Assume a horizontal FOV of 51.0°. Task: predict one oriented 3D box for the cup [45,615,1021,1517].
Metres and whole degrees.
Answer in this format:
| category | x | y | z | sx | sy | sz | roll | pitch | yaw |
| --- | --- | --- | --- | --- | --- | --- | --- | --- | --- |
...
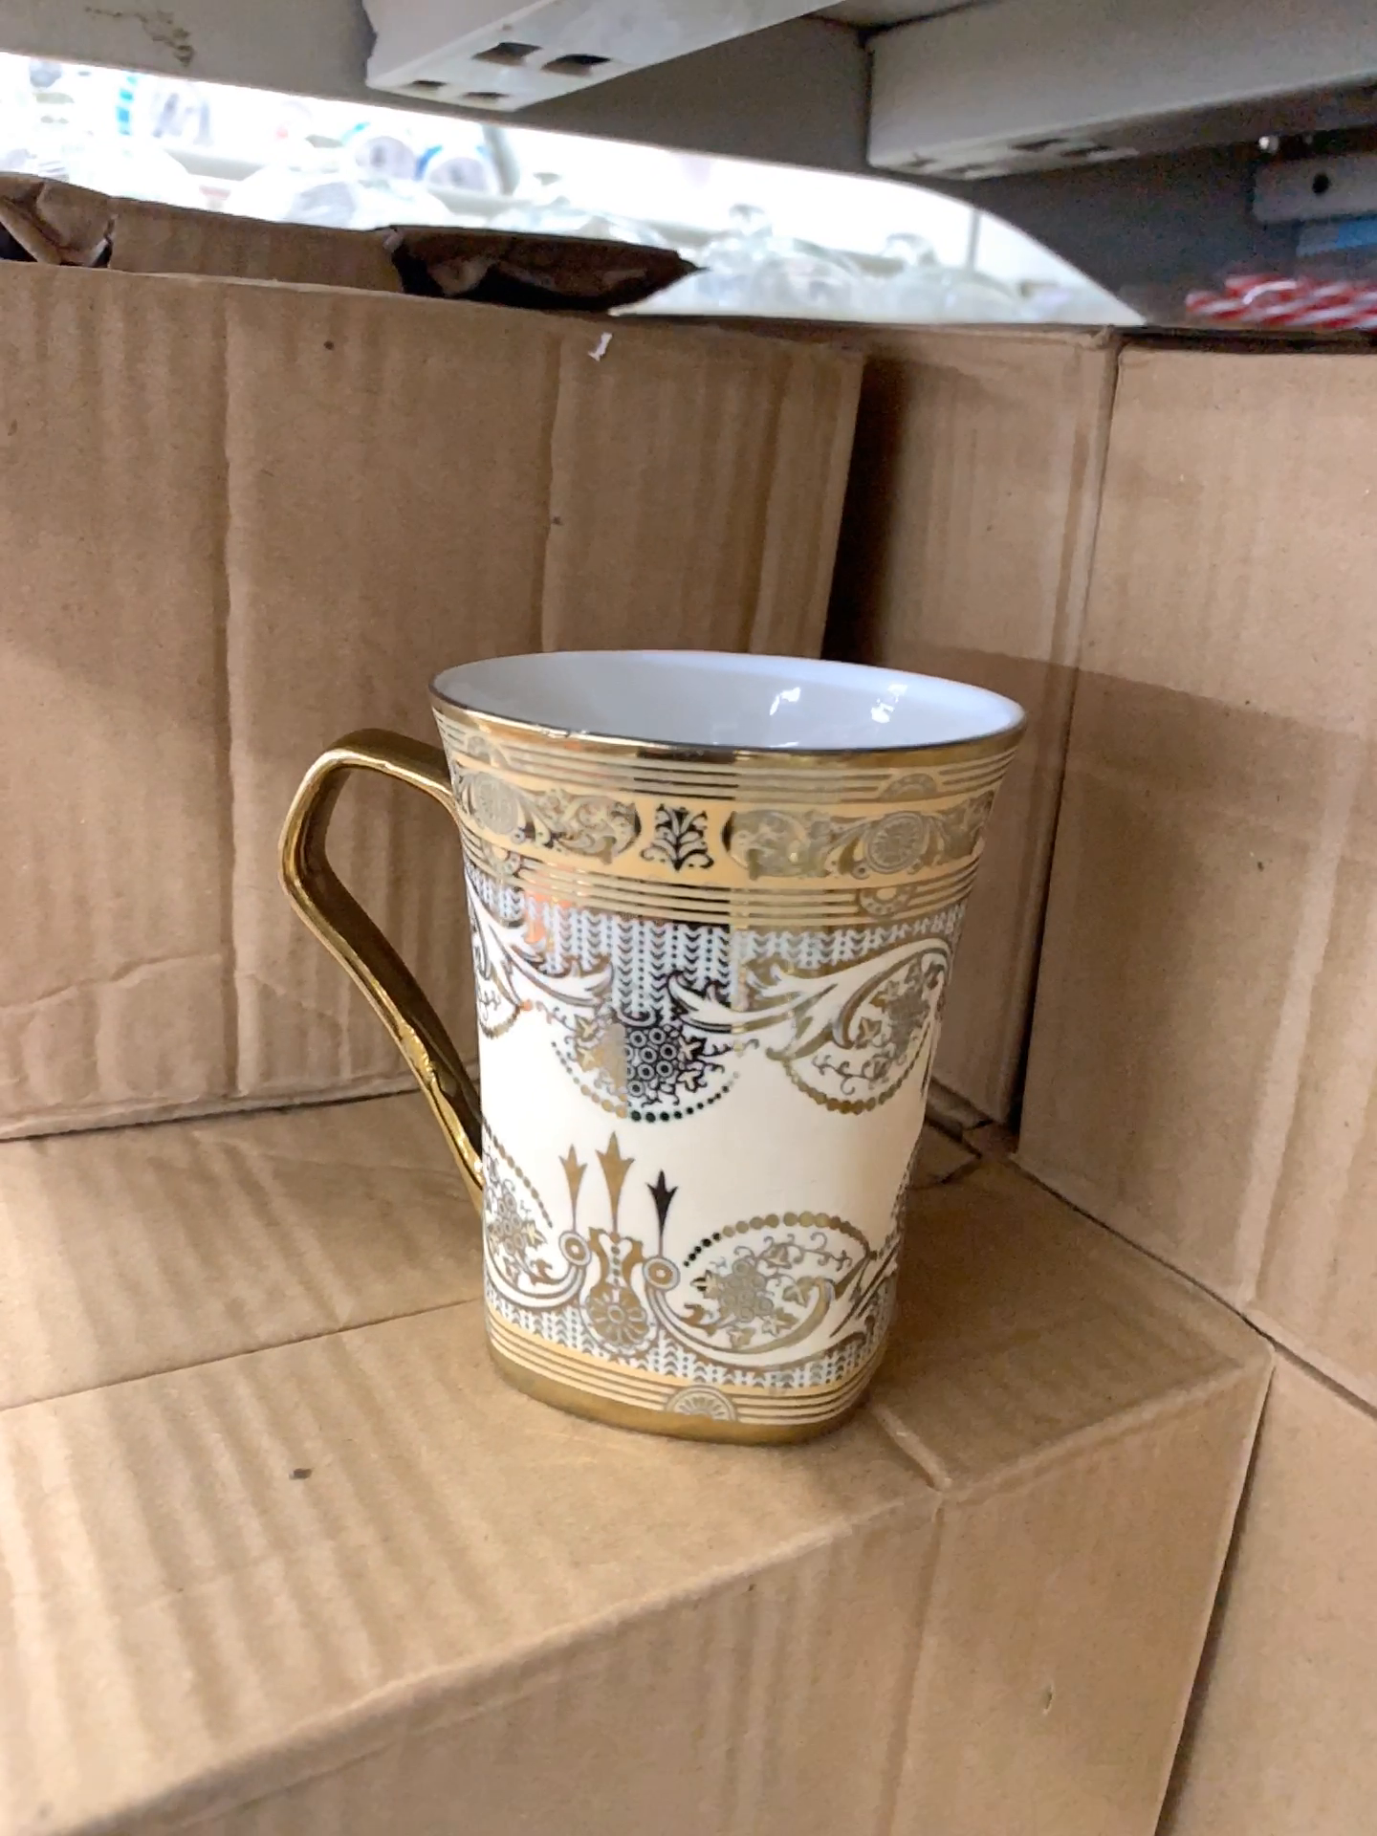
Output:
| category | x | y | z | sx | sy | sz | roll | pitch | yaw |
| --- | --- | --- | --- | --- | --- | --- | --- | --- | --- |
| cup | -0.015 | 0.010 | 0.209 | 0.110 | 0.089 | 0.080 | 7 | 19 | 13 |
